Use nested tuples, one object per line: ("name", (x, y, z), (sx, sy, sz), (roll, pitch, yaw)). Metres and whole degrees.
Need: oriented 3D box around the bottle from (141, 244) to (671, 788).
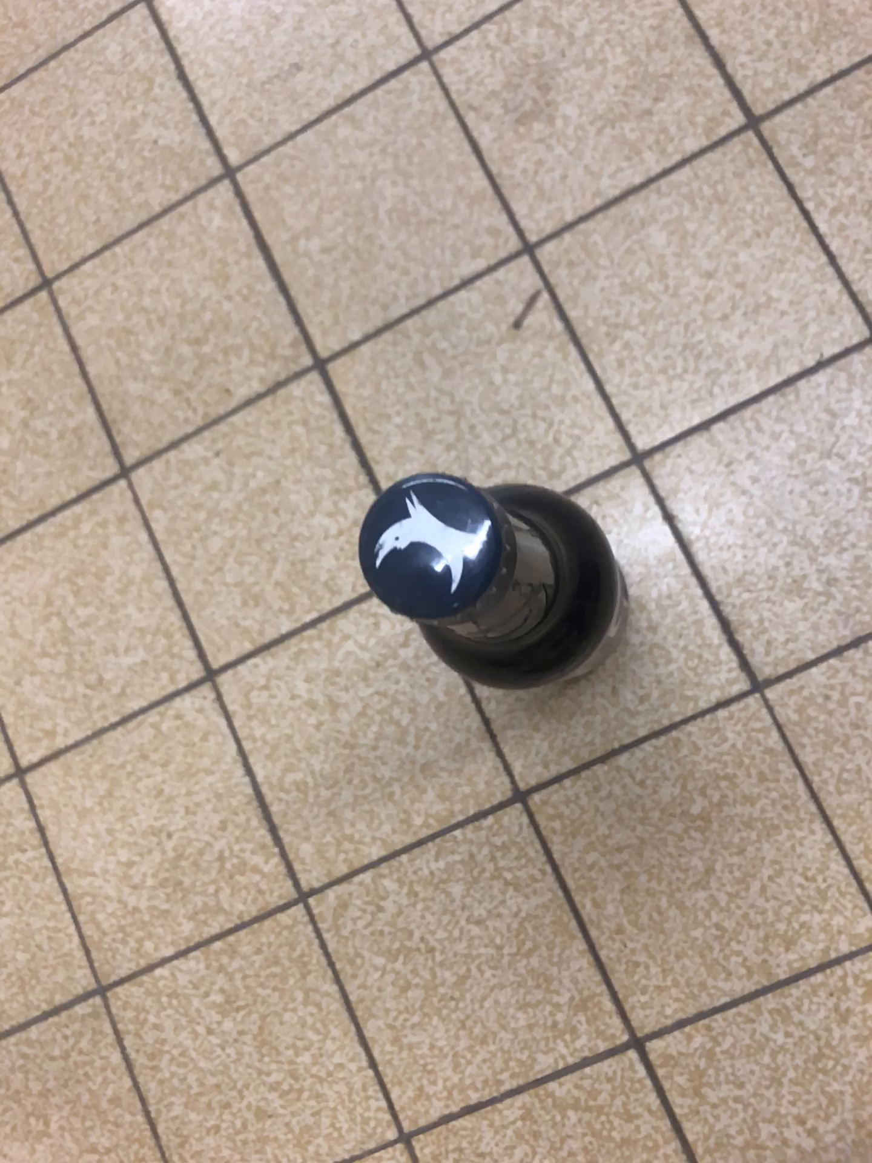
("bottle", (0.017, -0.004, 0.284), (0.070, 0.223, 0.070), (-1, 85, 13))
